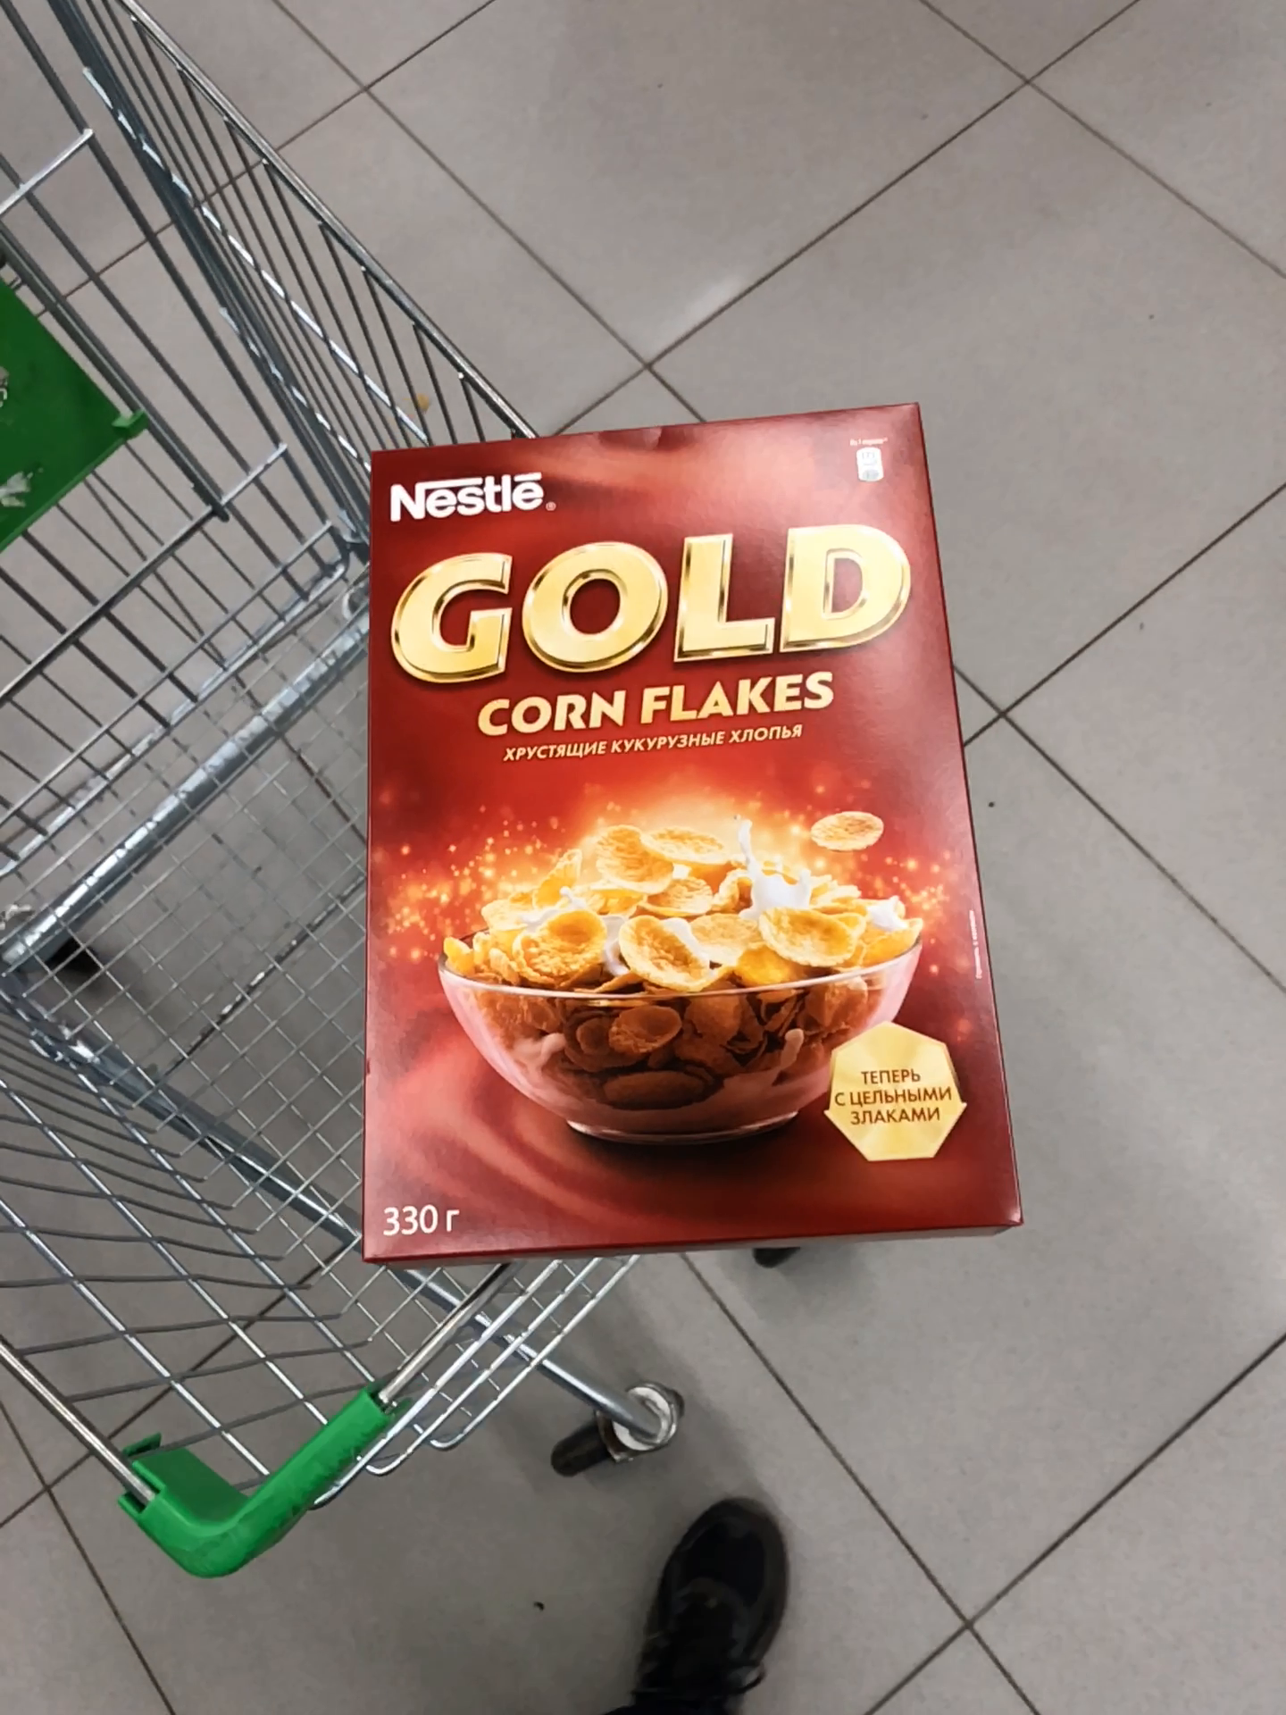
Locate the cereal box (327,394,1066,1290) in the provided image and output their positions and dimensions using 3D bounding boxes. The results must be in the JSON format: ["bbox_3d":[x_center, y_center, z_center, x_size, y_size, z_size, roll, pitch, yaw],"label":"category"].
[{"bbox_3d":[0.010,-0.007,0.473,0.210,0.060,0.280,-4,72,5],"label":"cereal box"}]
